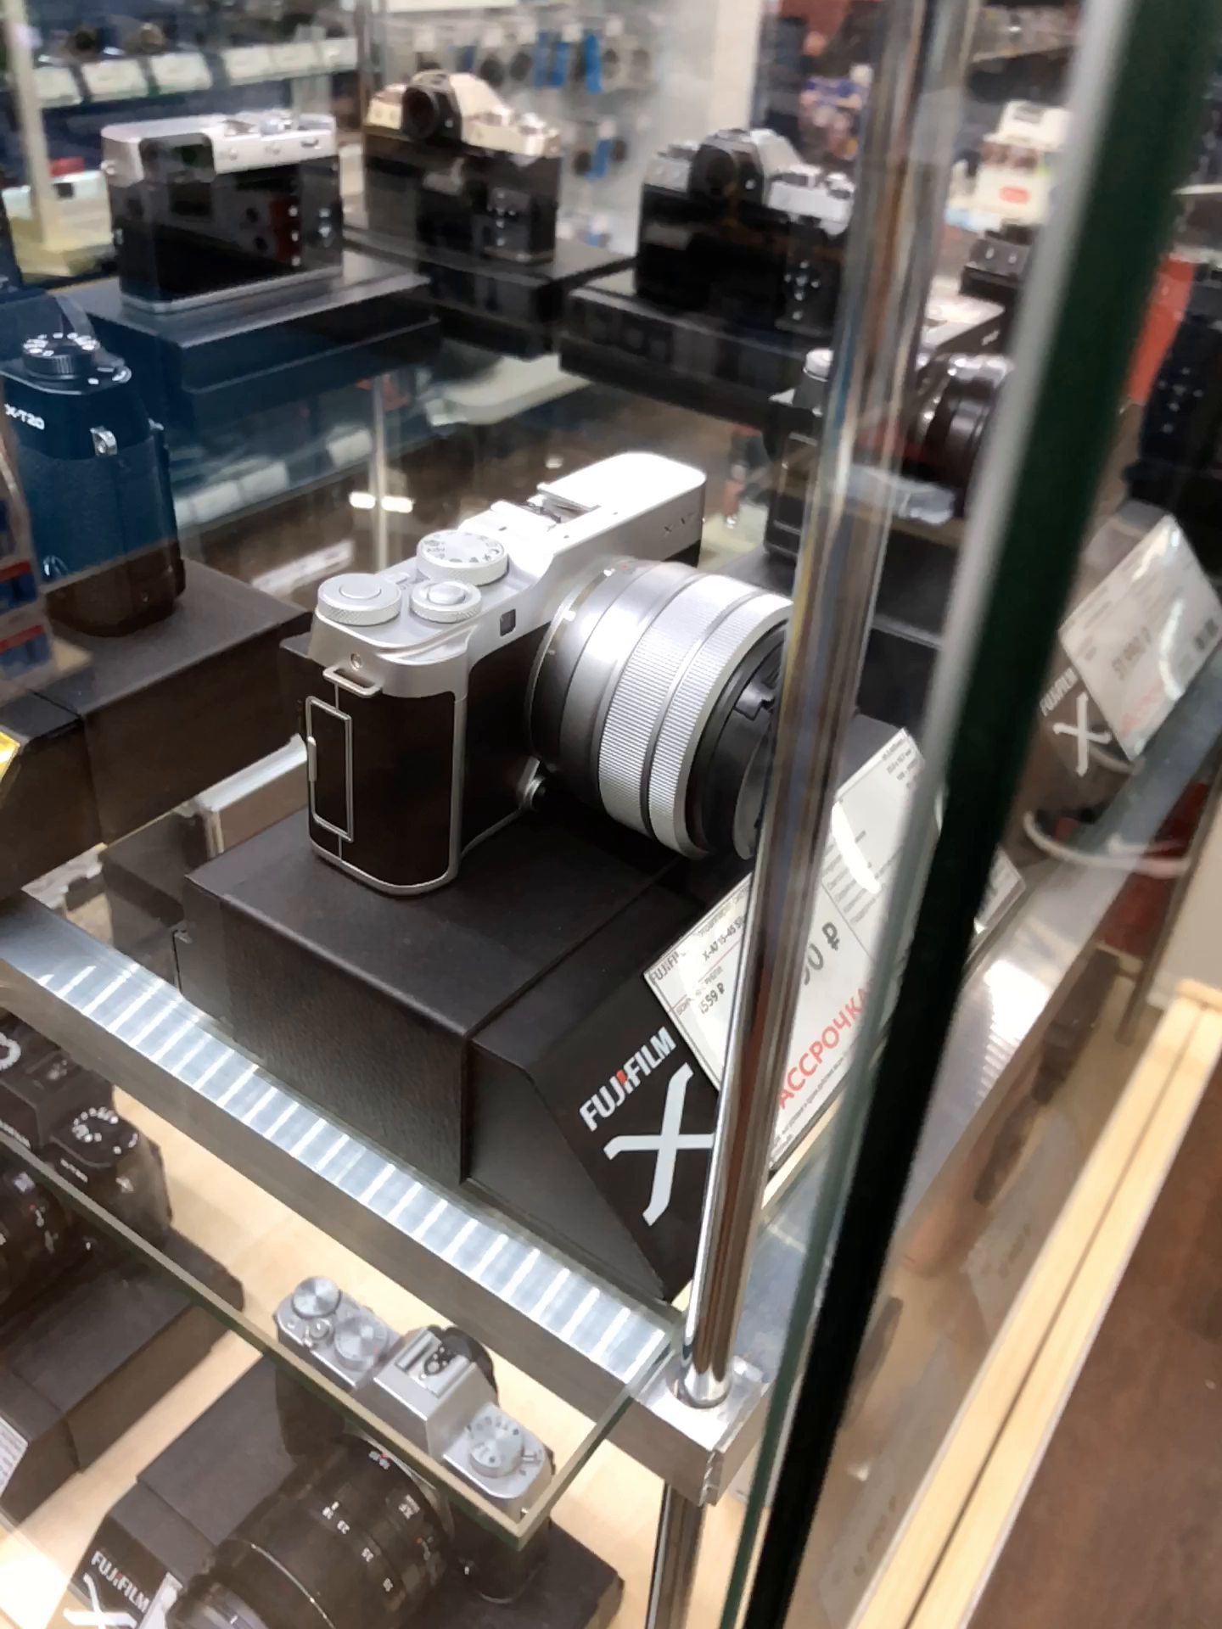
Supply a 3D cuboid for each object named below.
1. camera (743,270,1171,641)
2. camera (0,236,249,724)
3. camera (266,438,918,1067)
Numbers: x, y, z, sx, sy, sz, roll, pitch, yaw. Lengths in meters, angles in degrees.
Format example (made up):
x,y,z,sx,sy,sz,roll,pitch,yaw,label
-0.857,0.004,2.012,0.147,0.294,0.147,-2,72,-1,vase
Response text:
x,y,z,sx,sy,sz,roll,pitch,yaw,label
0.122,-0.133,0.482,0.096,0.080,0.115,25,39,26,camera
-0.179,-0.098,0.371,0.115,0.080,0.097,24,39,25,camera
-0.001,-0.024,0.320,0.084,0.080,0.126,26,40,27,camera
